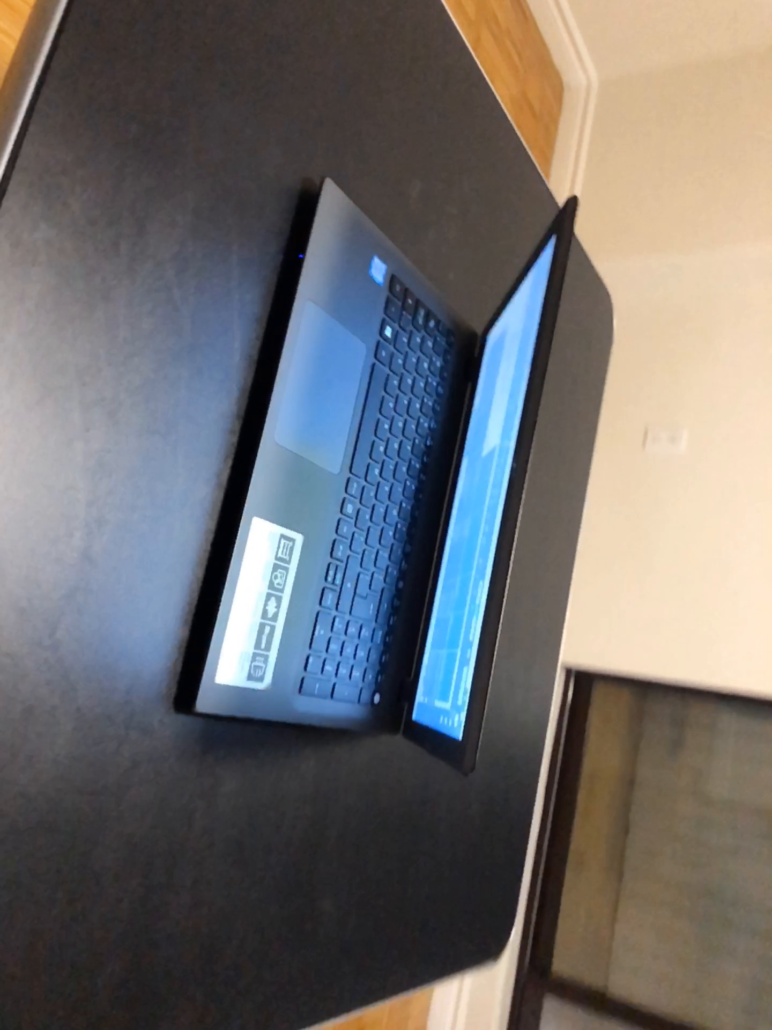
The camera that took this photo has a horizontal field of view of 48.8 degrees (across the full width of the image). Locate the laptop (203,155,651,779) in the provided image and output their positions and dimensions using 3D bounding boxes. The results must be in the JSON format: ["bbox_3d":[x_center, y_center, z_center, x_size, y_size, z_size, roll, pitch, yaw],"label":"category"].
[{"bbox_3d":[0.056,-0.013,0.624,0.252,0.155,0.369,28,70,-54],"label":"laptop"}]
